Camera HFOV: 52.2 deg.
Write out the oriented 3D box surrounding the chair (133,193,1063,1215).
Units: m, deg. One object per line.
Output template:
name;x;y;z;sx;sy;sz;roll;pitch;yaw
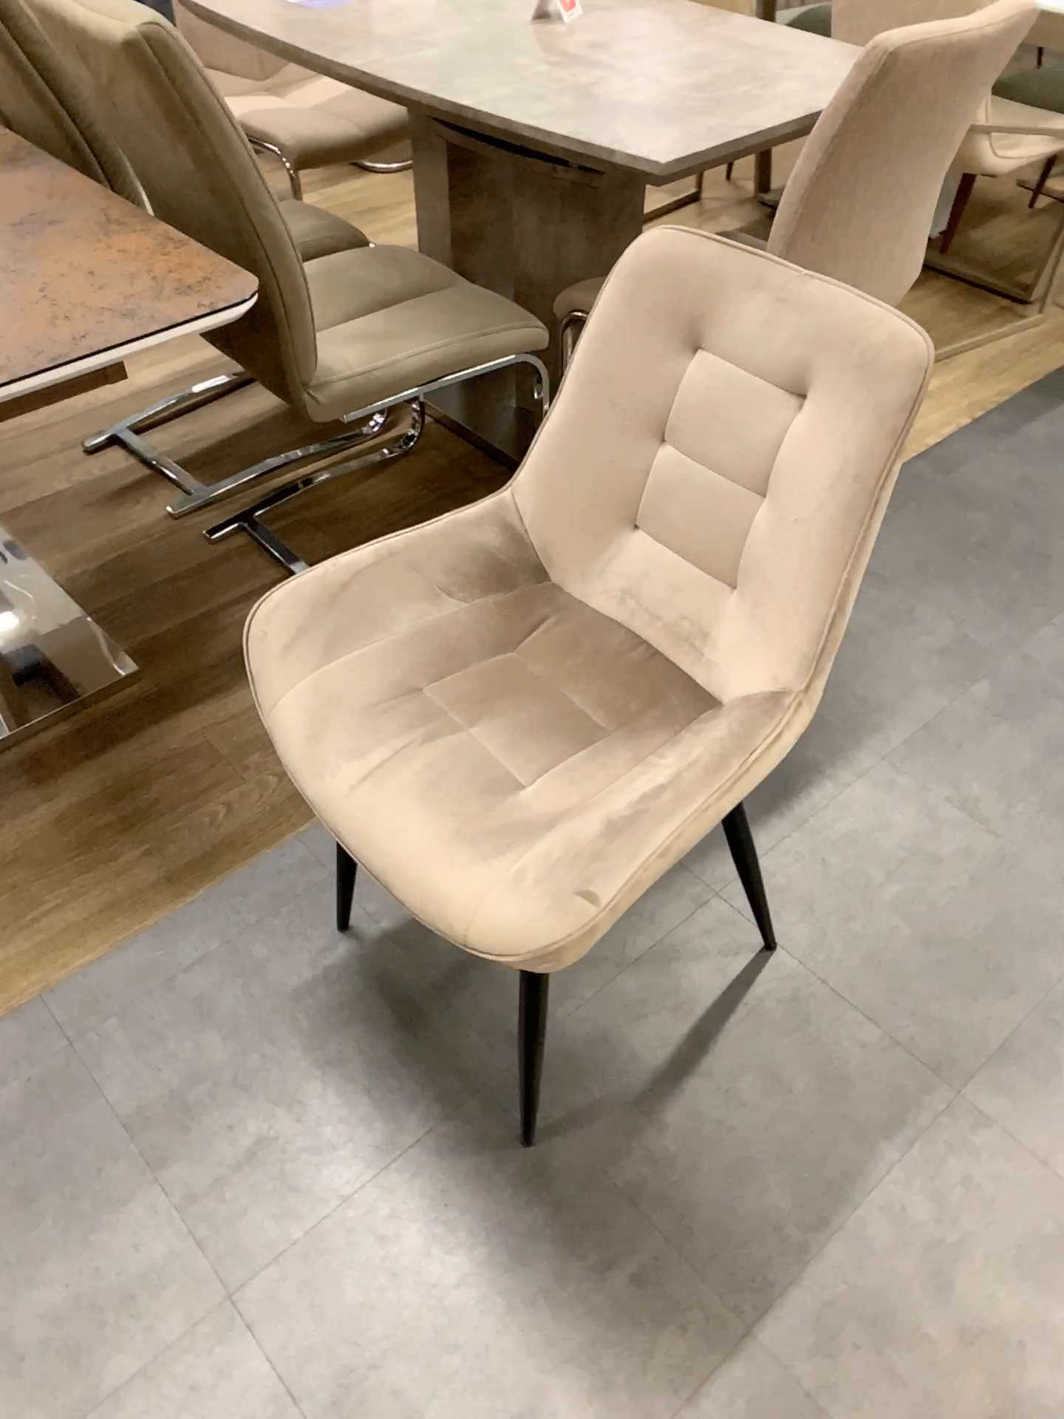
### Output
chair;0.059;-0.014;1.238;0.611;0.817;0.568;-29;51;-27
